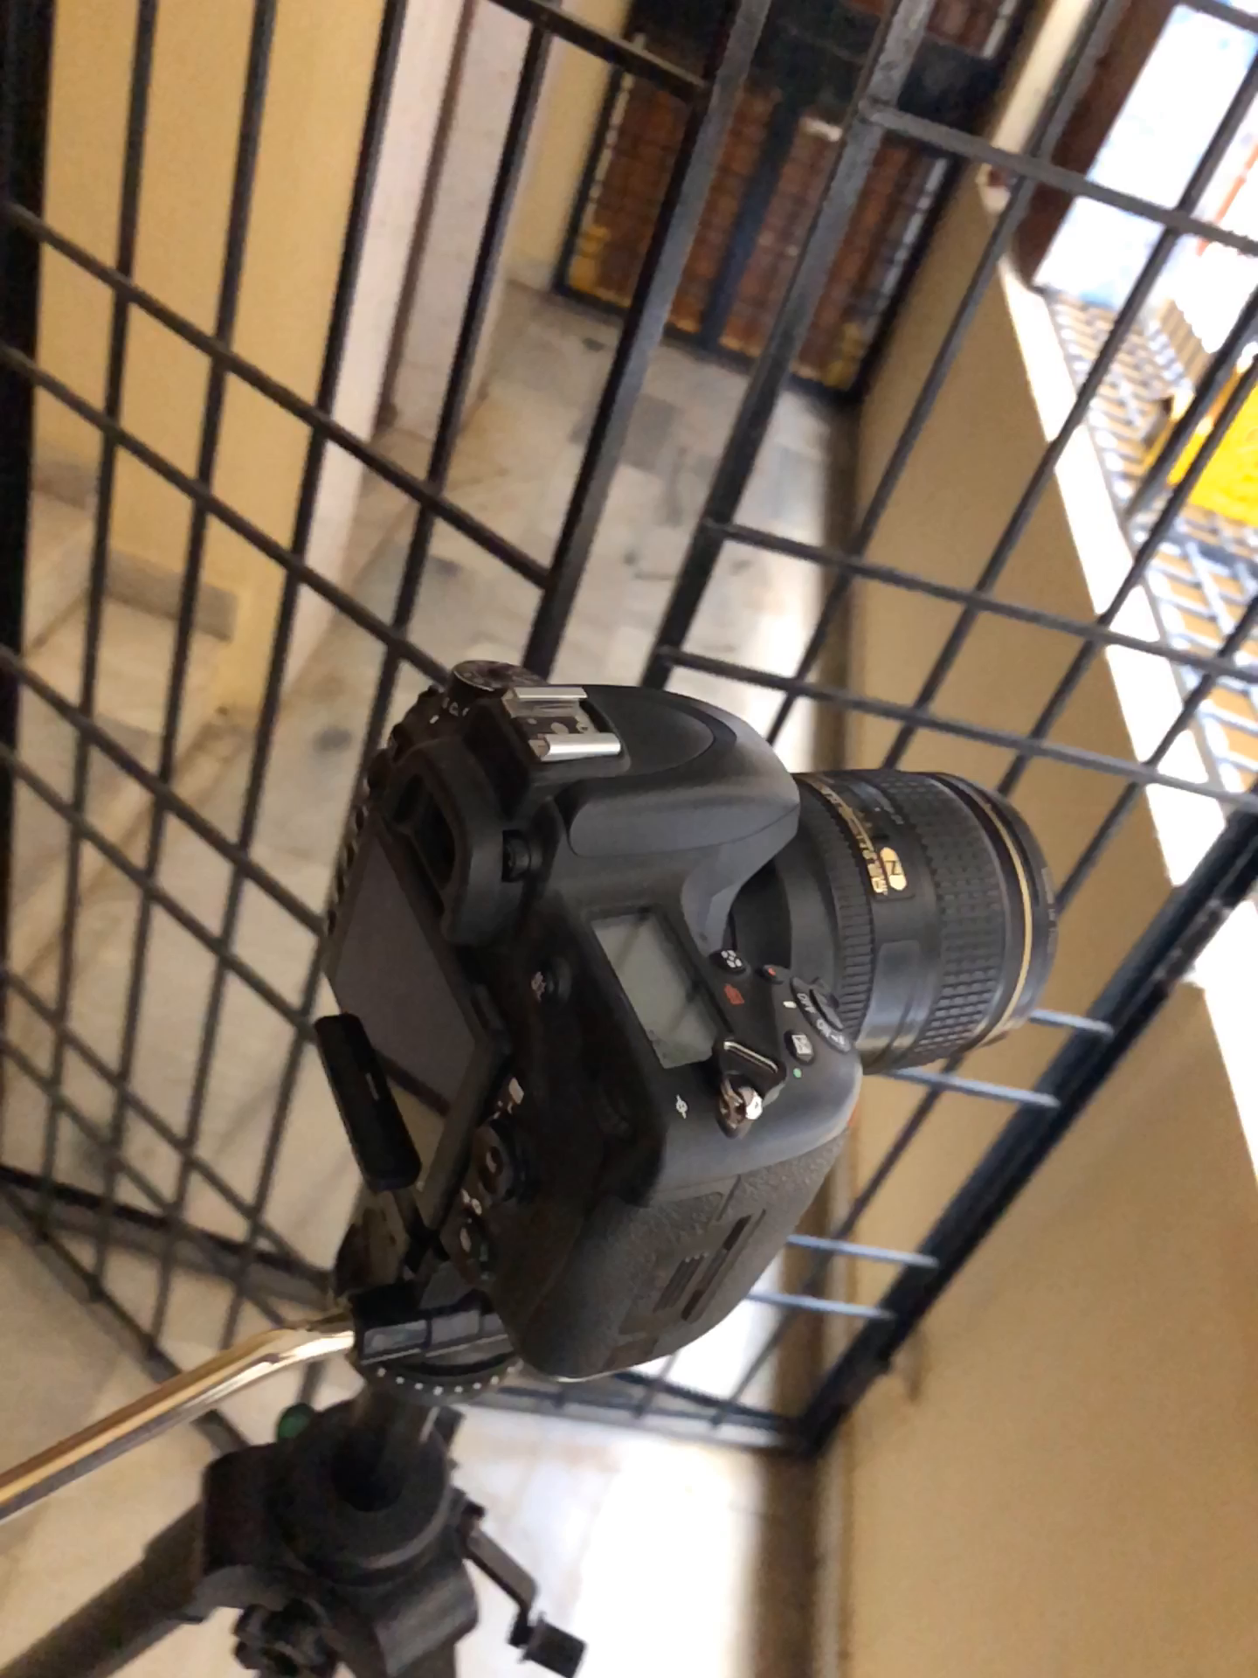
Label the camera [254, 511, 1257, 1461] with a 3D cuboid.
[{"bbox_3d":[0.024,0.018,0.332,0.172,0.105,0.171,-4,44,-31],"label":"camera"}]
